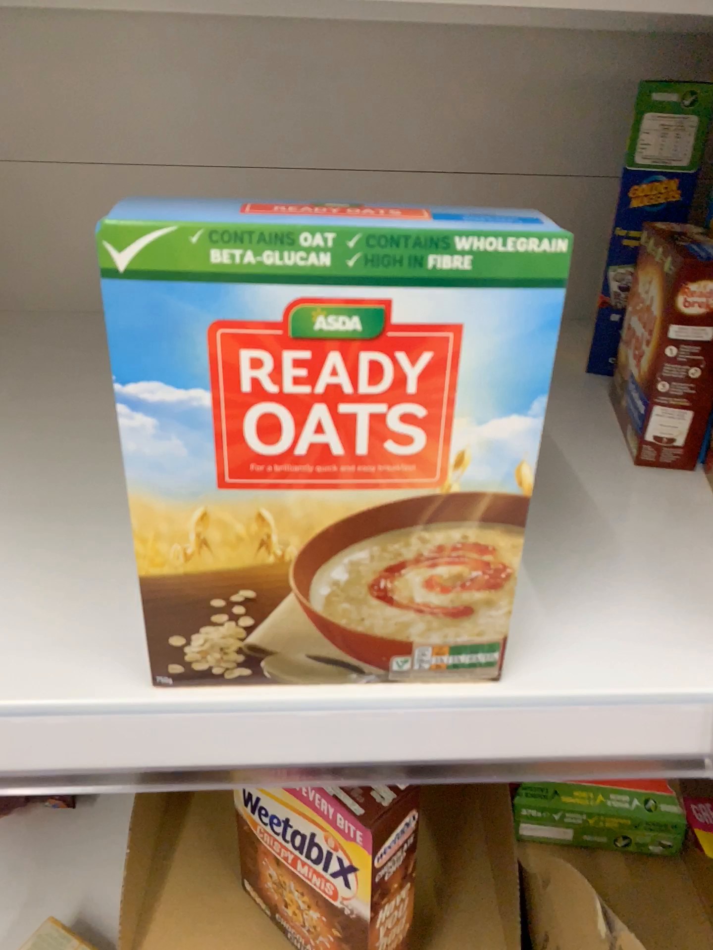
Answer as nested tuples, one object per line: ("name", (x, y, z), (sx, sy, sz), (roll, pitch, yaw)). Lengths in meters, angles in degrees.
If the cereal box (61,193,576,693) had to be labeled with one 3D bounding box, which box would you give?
("cereal box", (-0.019, -0.006, 0.388), (0.210, 0.258, 0.071), (0, 29, -4))
